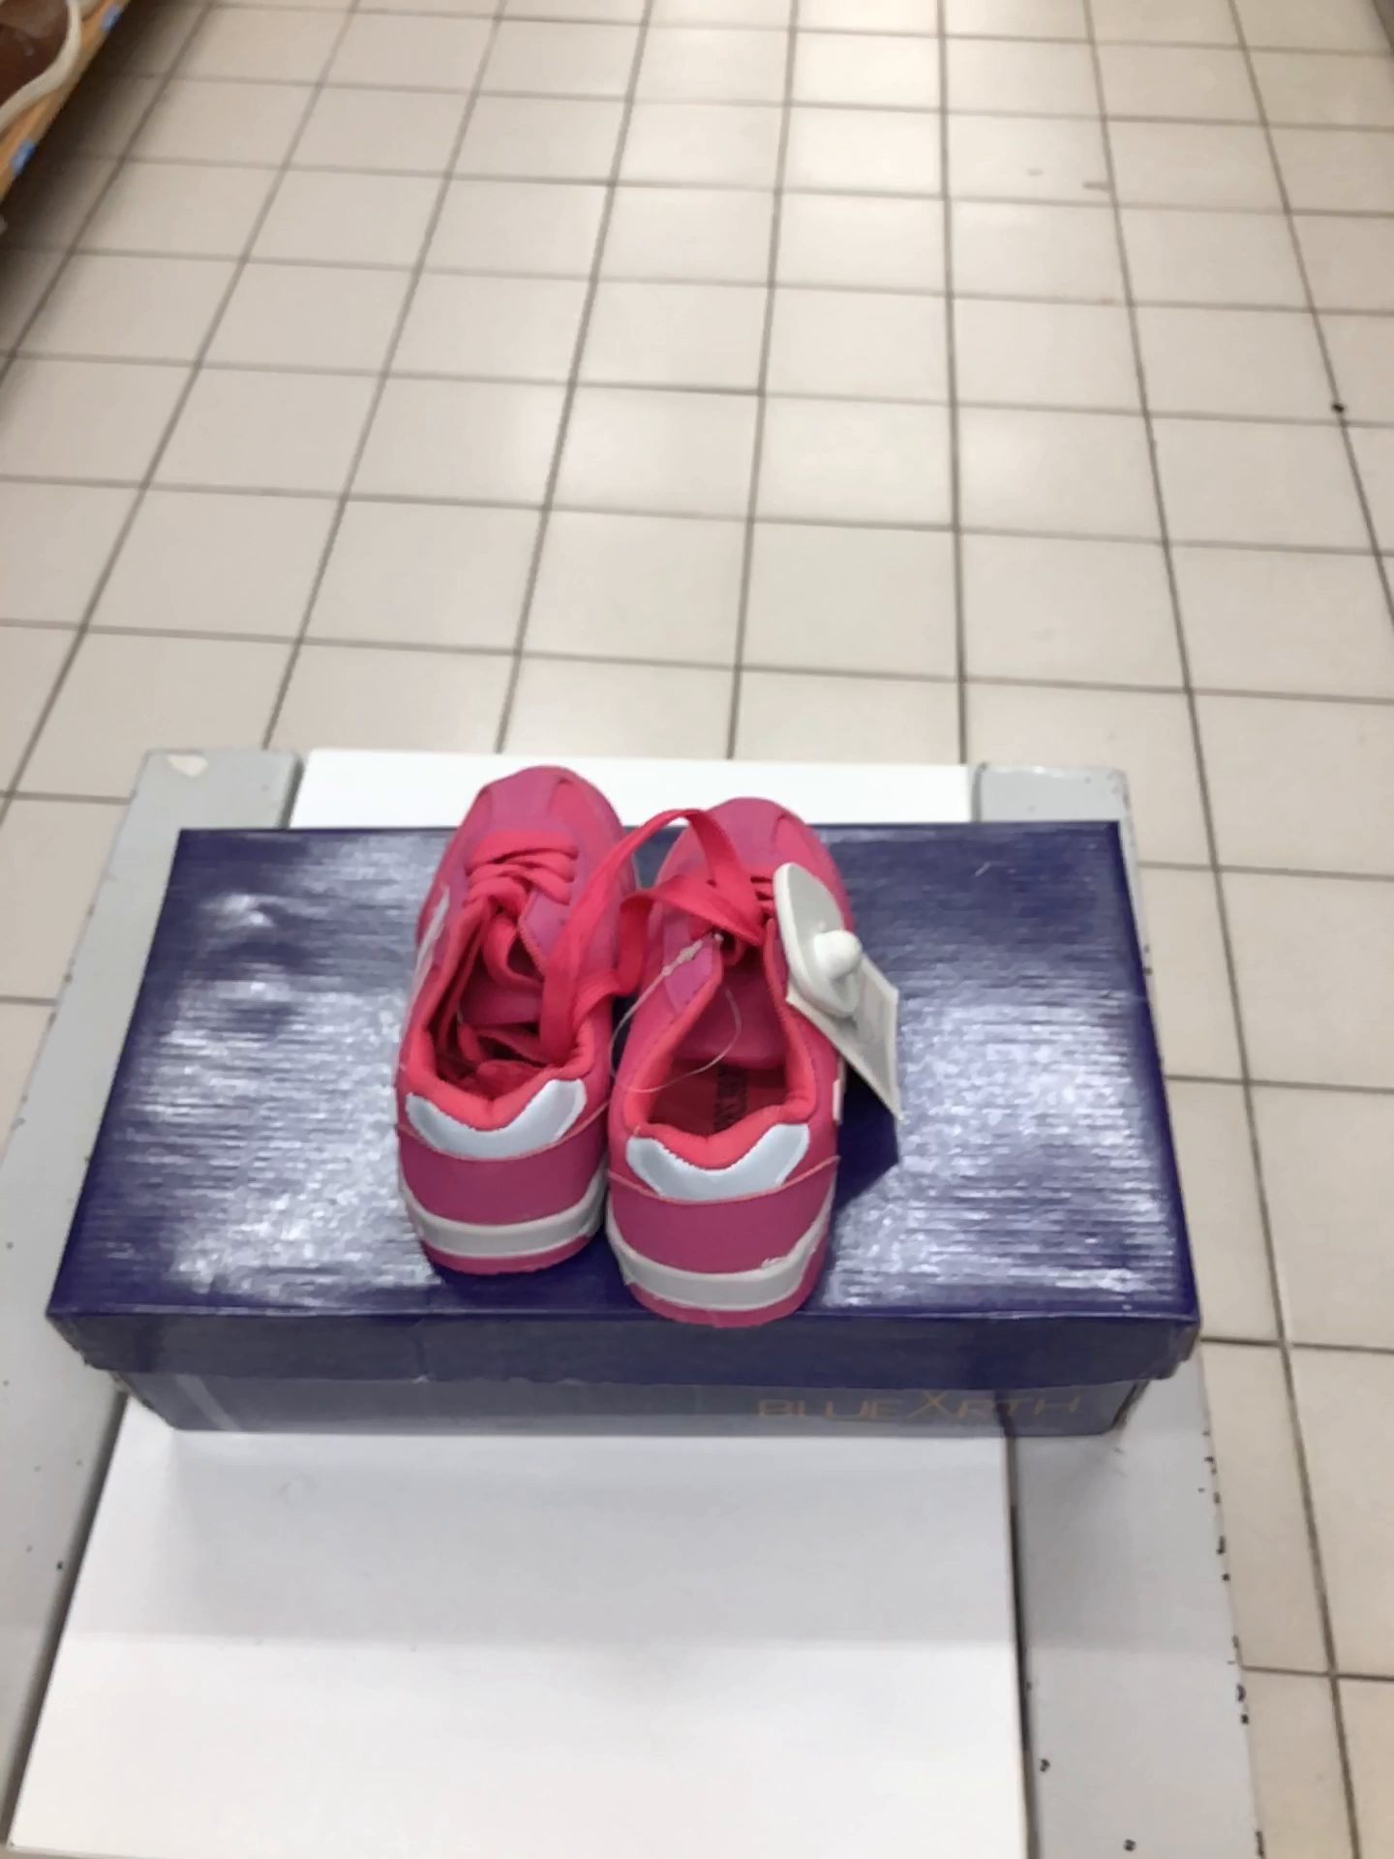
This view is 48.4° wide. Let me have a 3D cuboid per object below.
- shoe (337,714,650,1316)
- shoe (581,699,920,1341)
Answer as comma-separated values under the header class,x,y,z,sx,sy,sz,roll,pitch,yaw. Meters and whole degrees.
class,x,y,z,sx,sy,sz,roll,pitch,yaw
shoe,-0.054,0.024,0.478,0.070,0.090,0.161,2,54,1
shoe,0.015,0.024,0.449,0.080,0.090,0.161,2,54,1
